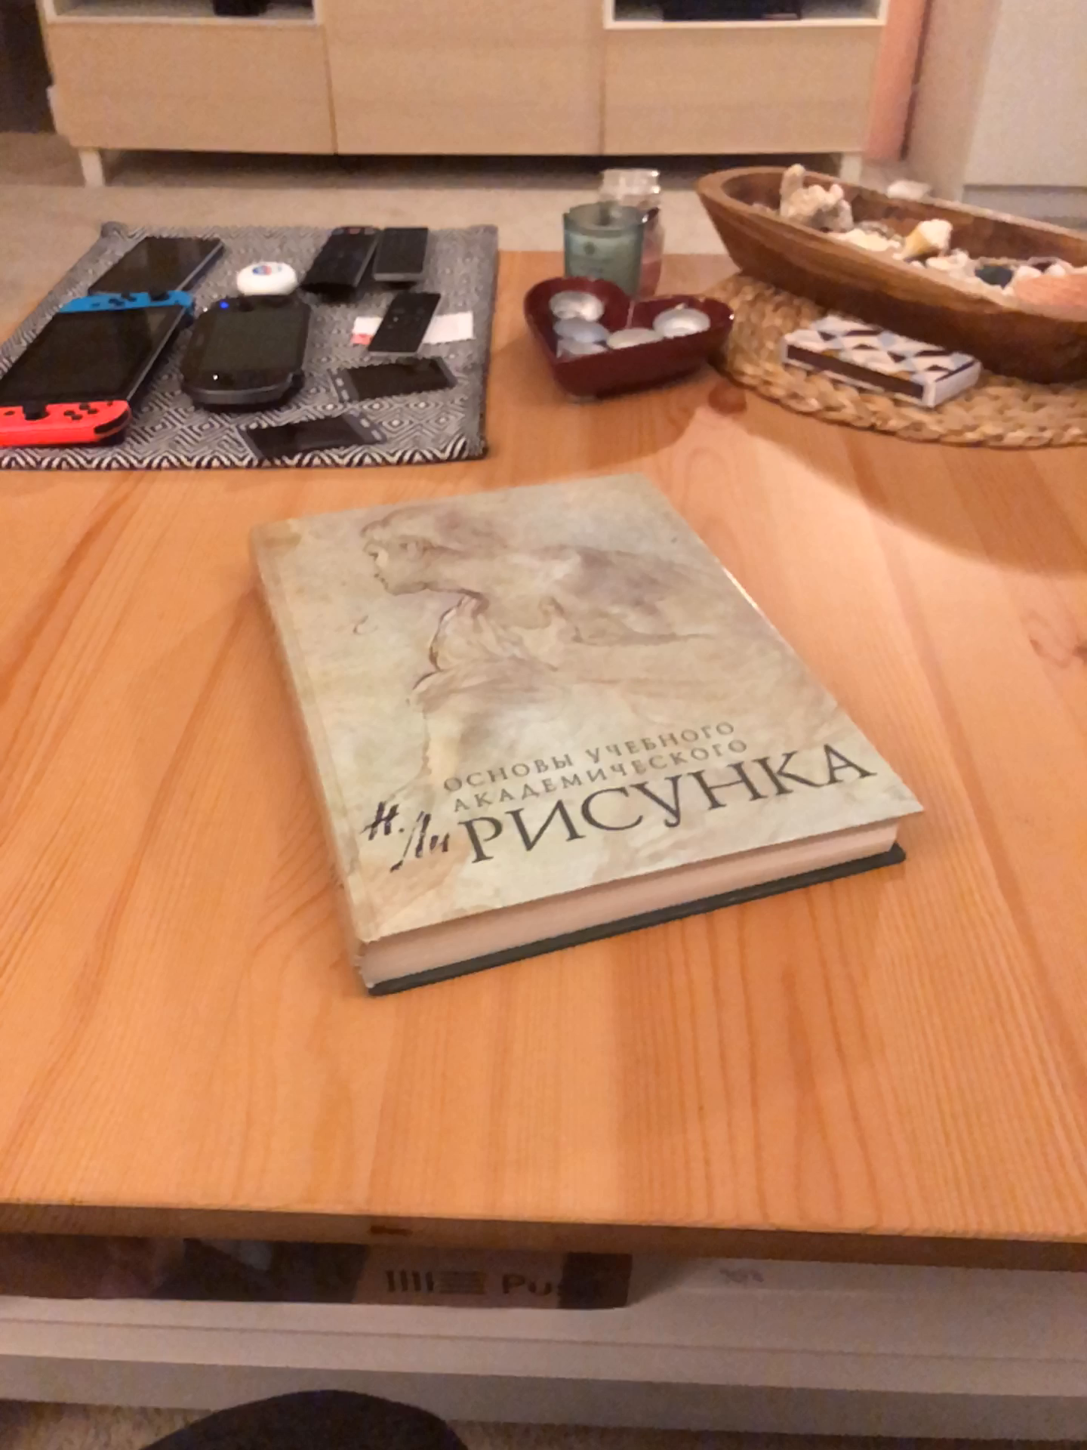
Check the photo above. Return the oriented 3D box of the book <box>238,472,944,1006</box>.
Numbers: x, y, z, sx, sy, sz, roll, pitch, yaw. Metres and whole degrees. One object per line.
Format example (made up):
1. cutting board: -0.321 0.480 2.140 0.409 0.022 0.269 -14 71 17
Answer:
1. book: -0.001 -0.021 0.513 0.214 0.030 0.273 -11 40 -16
